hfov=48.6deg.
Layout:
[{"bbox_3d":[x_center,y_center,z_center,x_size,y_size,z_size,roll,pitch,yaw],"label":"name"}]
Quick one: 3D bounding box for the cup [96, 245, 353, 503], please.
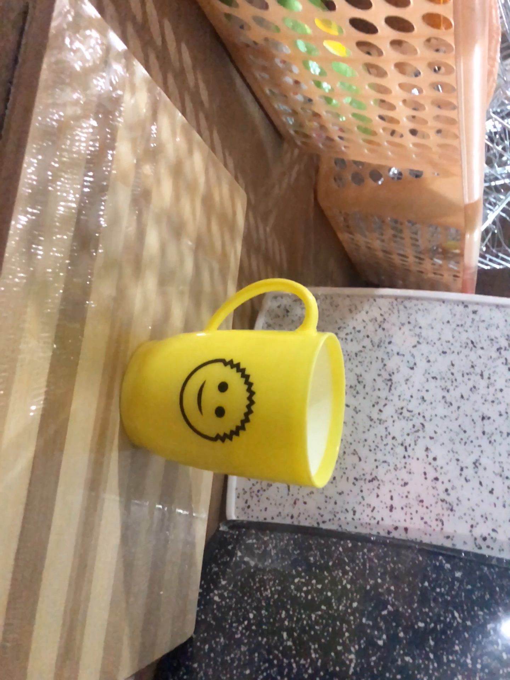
[{"bbox_3d":[-0.010,0.018,0.294,0.081,0.099,0.110,24,69,-67],"label":"cup"}]
